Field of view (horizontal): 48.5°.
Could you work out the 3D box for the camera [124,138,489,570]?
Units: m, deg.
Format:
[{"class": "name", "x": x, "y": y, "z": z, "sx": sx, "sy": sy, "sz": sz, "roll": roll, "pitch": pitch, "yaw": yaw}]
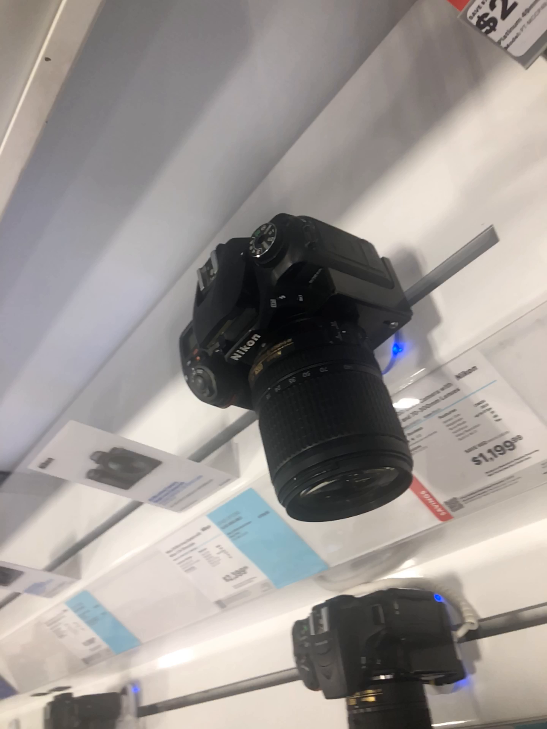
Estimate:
[{"class": "camera", "x": 0.000, "y": 0.002, "z": 0.370, "sx": 0.151, "sy": 0.119, "sz": 0.190, "roll": -44, "pitch": 44, "yaw": 37}]
